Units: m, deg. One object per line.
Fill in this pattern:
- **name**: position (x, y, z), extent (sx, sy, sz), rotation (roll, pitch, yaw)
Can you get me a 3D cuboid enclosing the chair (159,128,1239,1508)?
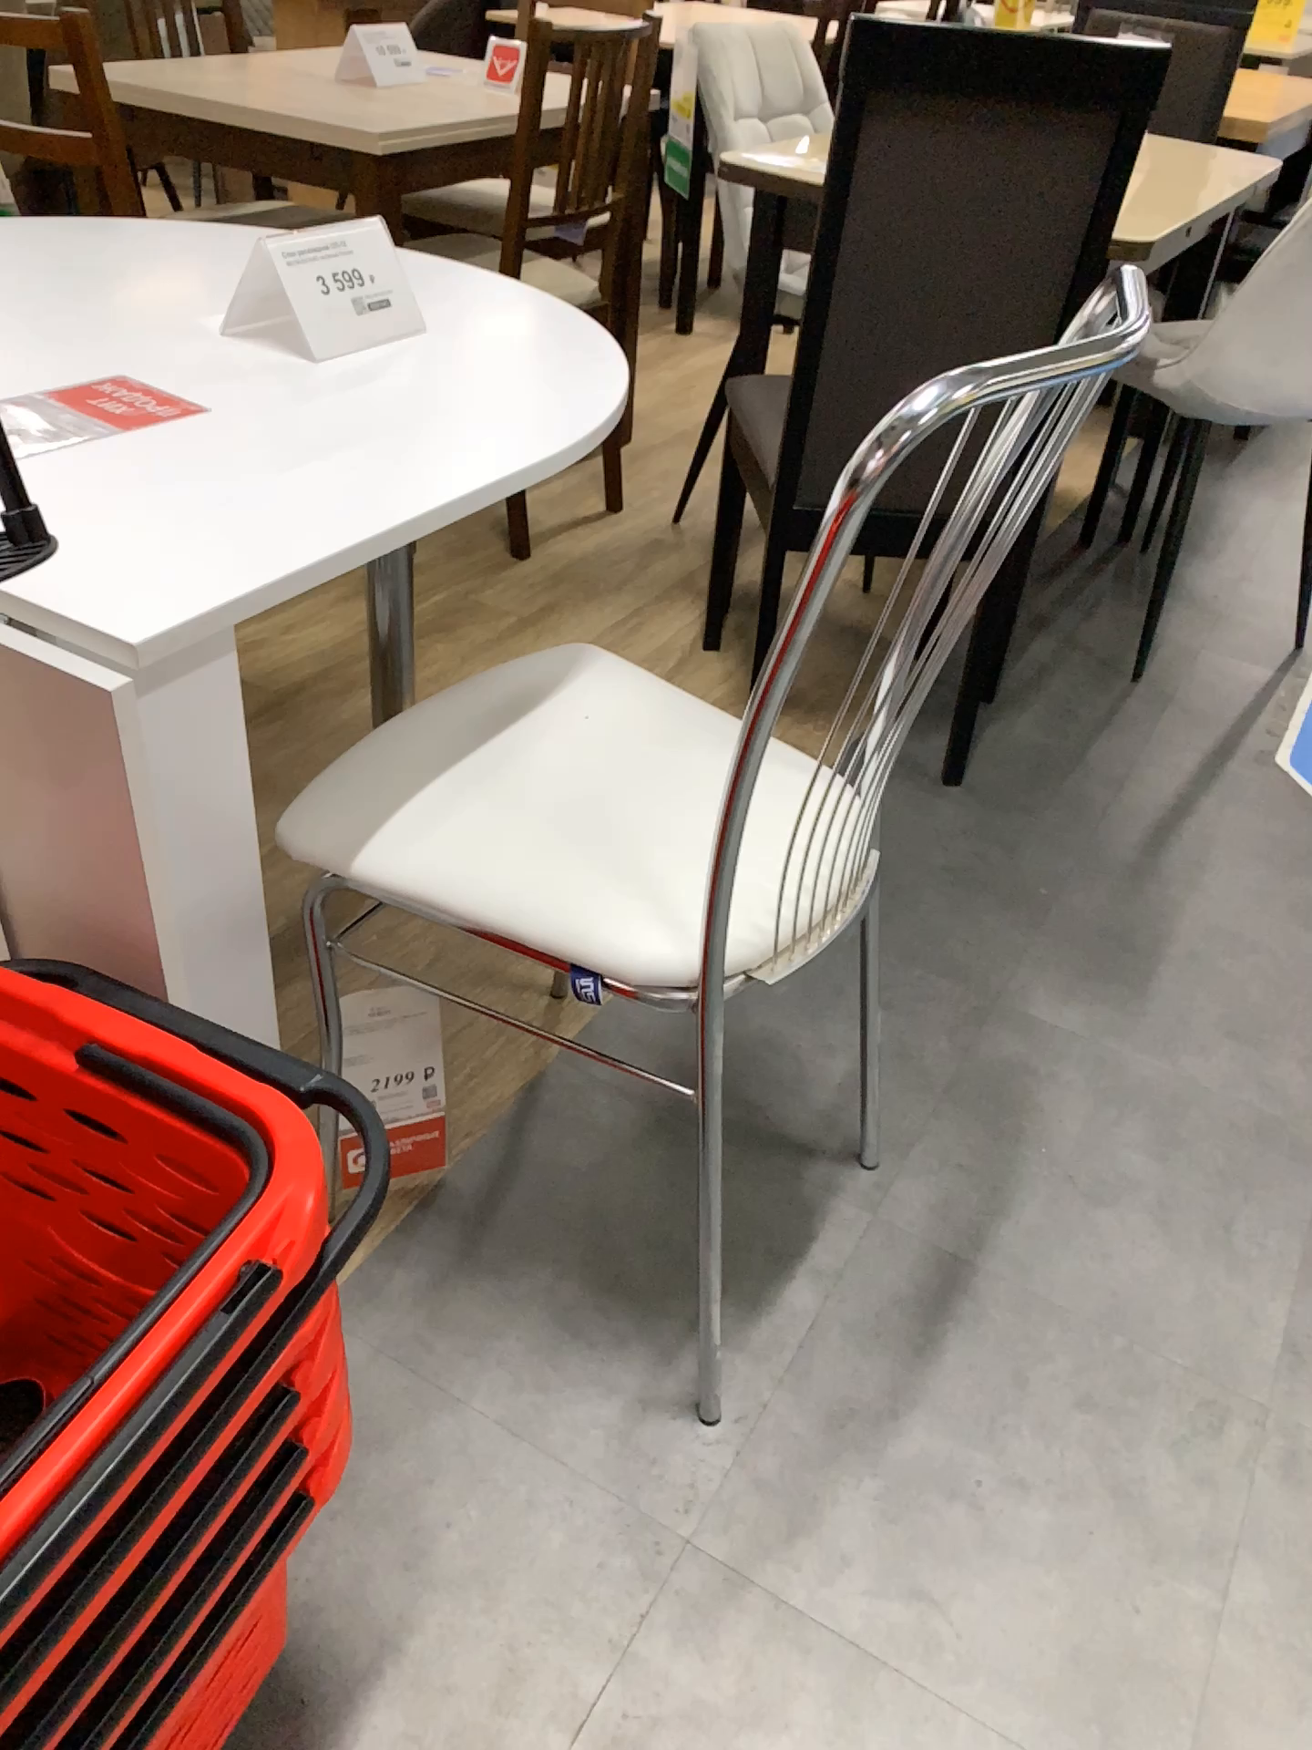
- **chair**: position (0.018, -0.035, 1.152), extent (0.550, 0.954, 0.452), rotation (22, 40, 21)
